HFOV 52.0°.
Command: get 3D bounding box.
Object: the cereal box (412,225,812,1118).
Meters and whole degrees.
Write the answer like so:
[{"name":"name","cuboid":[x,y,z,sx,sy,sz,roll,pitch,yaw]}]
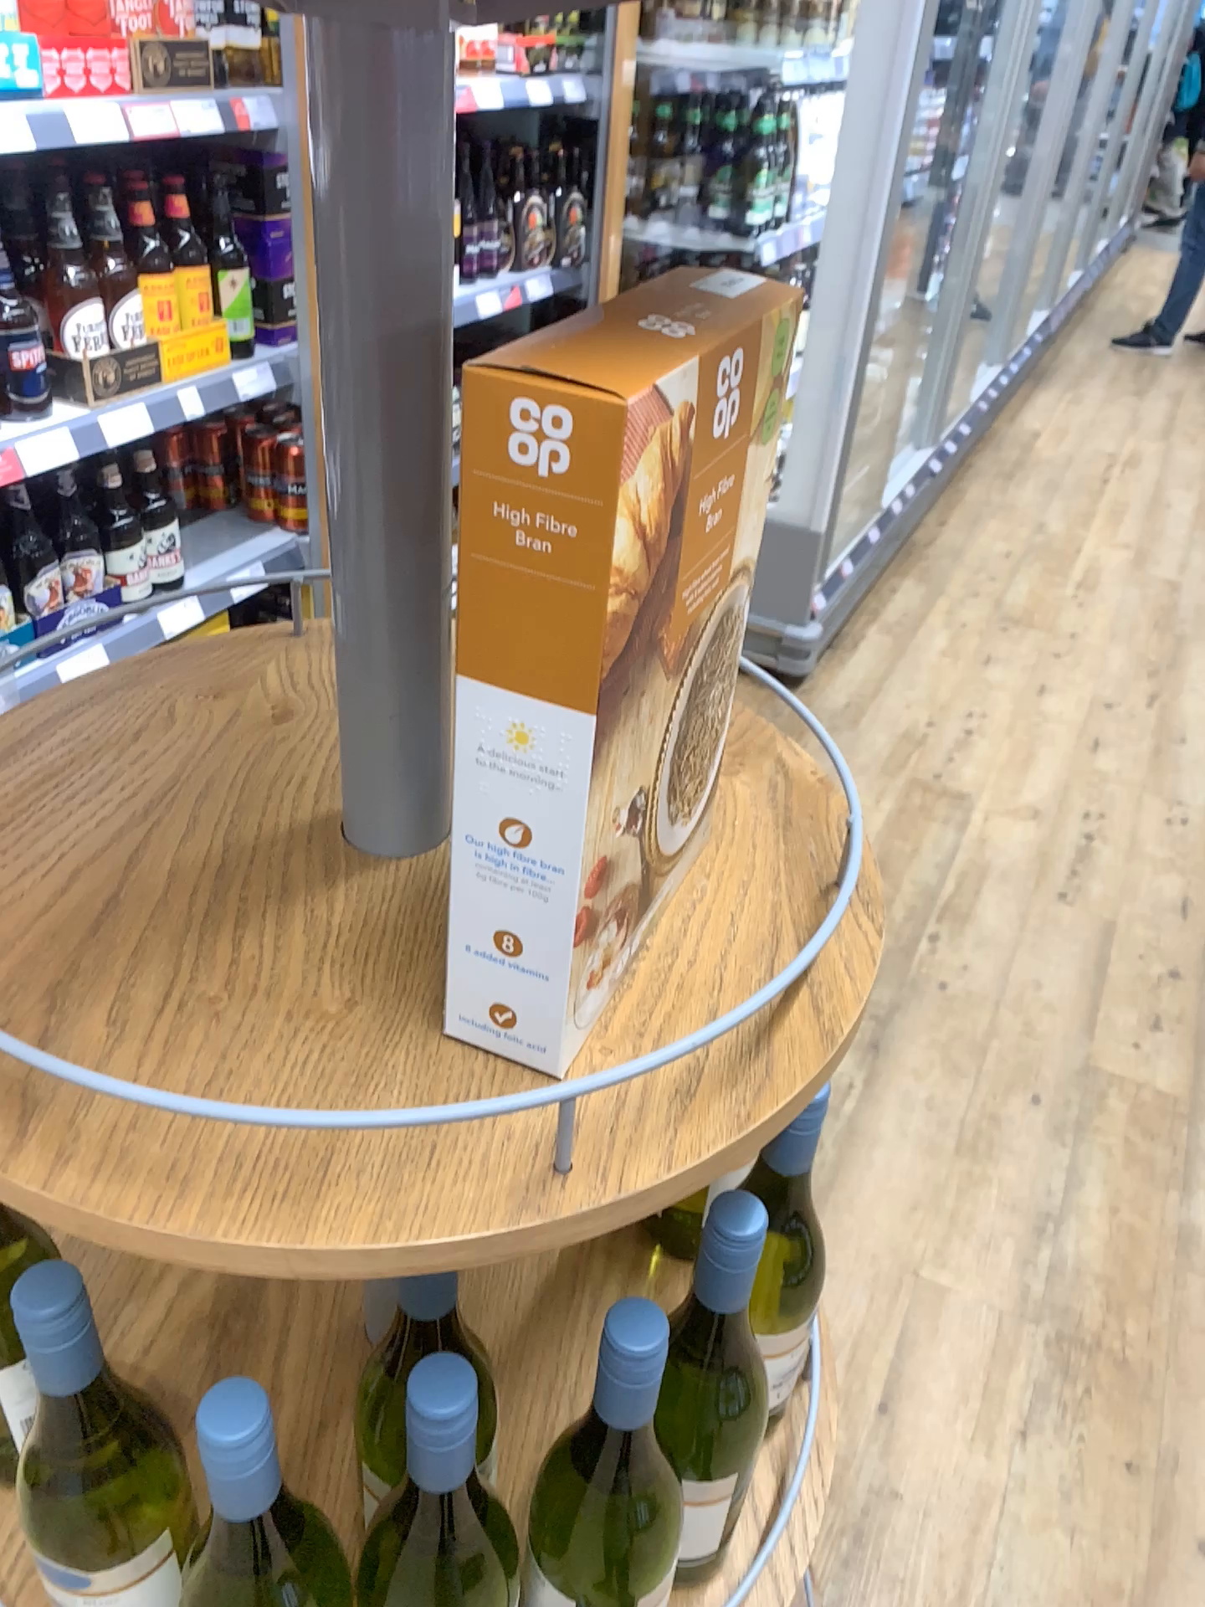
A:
[{"name":"cereal box","cuboid":[0.003,-0.055,0.476,0.060,0.277,0.202,16,35,15]}]
